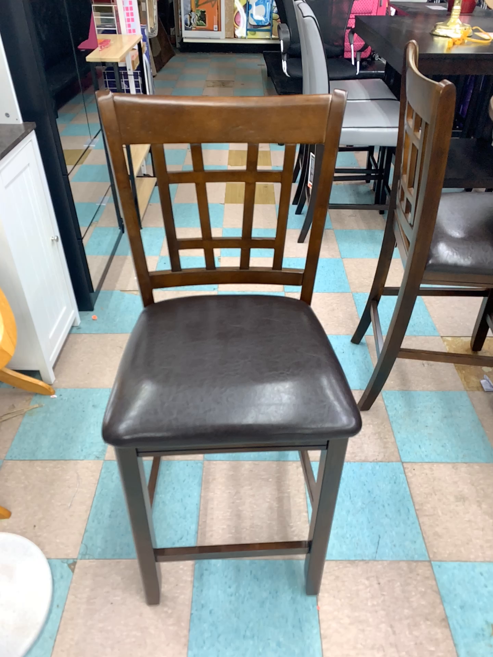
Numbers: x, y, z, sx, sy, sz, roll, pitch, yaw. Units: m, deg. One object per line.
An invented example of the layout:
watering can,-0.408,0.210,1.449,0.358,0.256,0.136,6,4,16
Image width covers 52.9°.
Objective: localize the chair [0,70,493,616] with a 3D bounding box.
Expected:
chair,0.001,0.064,0.886,0.468,0.849,0.483,-2,40,-4
